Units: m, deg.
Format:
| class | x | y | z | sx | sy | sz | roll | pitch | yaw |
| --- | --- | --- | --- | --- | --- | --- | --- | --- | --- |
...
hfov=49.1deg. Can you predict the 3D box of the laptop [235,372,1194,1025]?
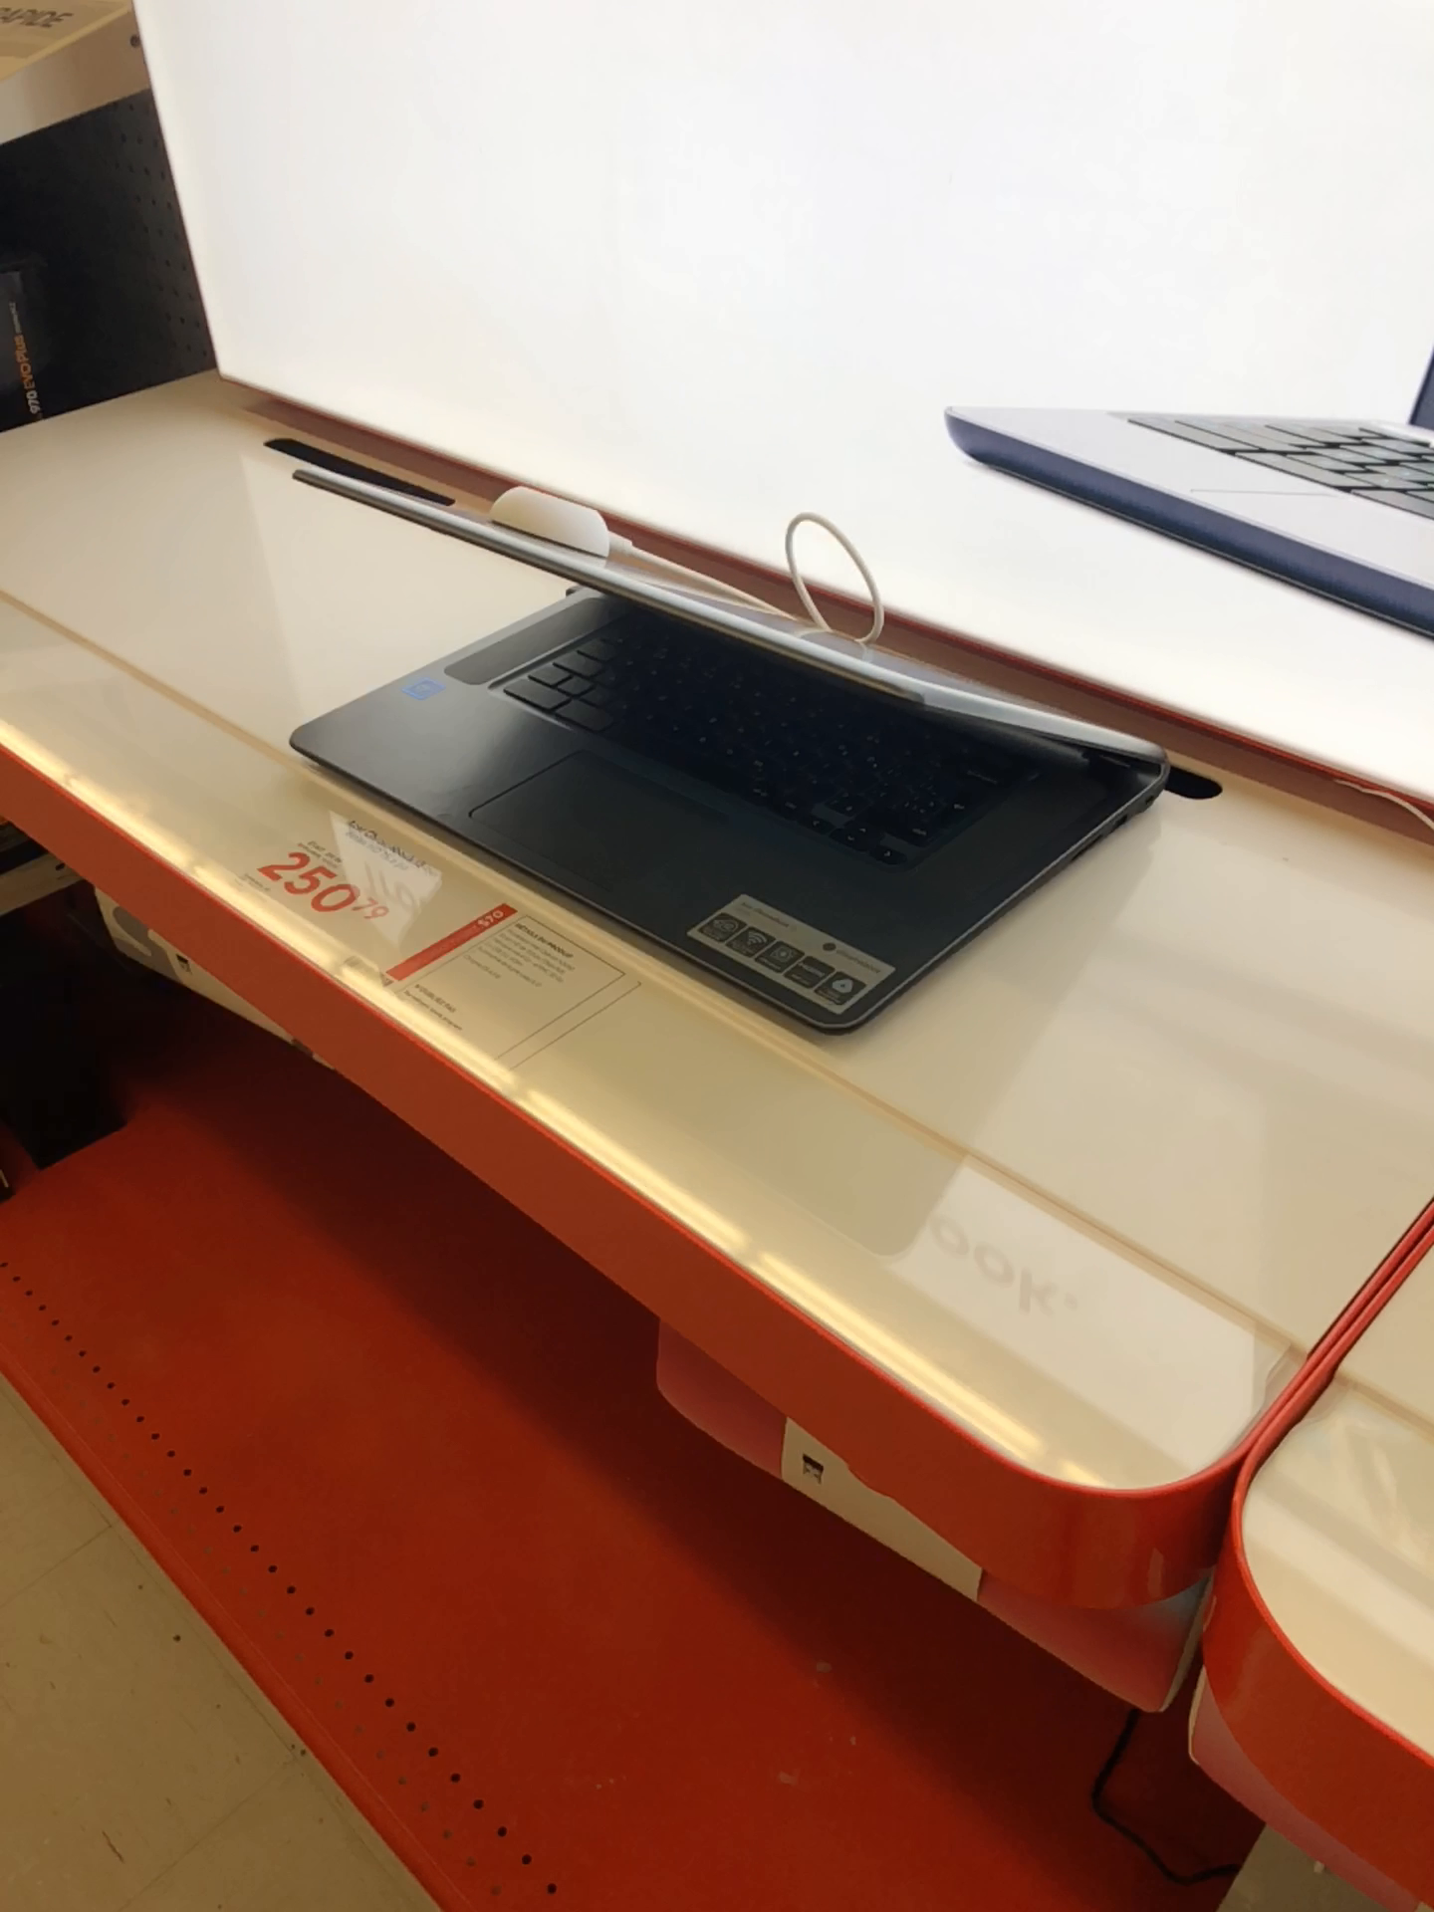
| class | x | y | z | sx | sy | sz | roll | pitch | yaw |
| --- | --- | --- | --- | --- | --- | --- | --- | --- | --- |
| laptop | -0.009 | -0.148 | 0.735 | 0.365 | 0.122 | 0.237 | 27 | 47 | 34 |
